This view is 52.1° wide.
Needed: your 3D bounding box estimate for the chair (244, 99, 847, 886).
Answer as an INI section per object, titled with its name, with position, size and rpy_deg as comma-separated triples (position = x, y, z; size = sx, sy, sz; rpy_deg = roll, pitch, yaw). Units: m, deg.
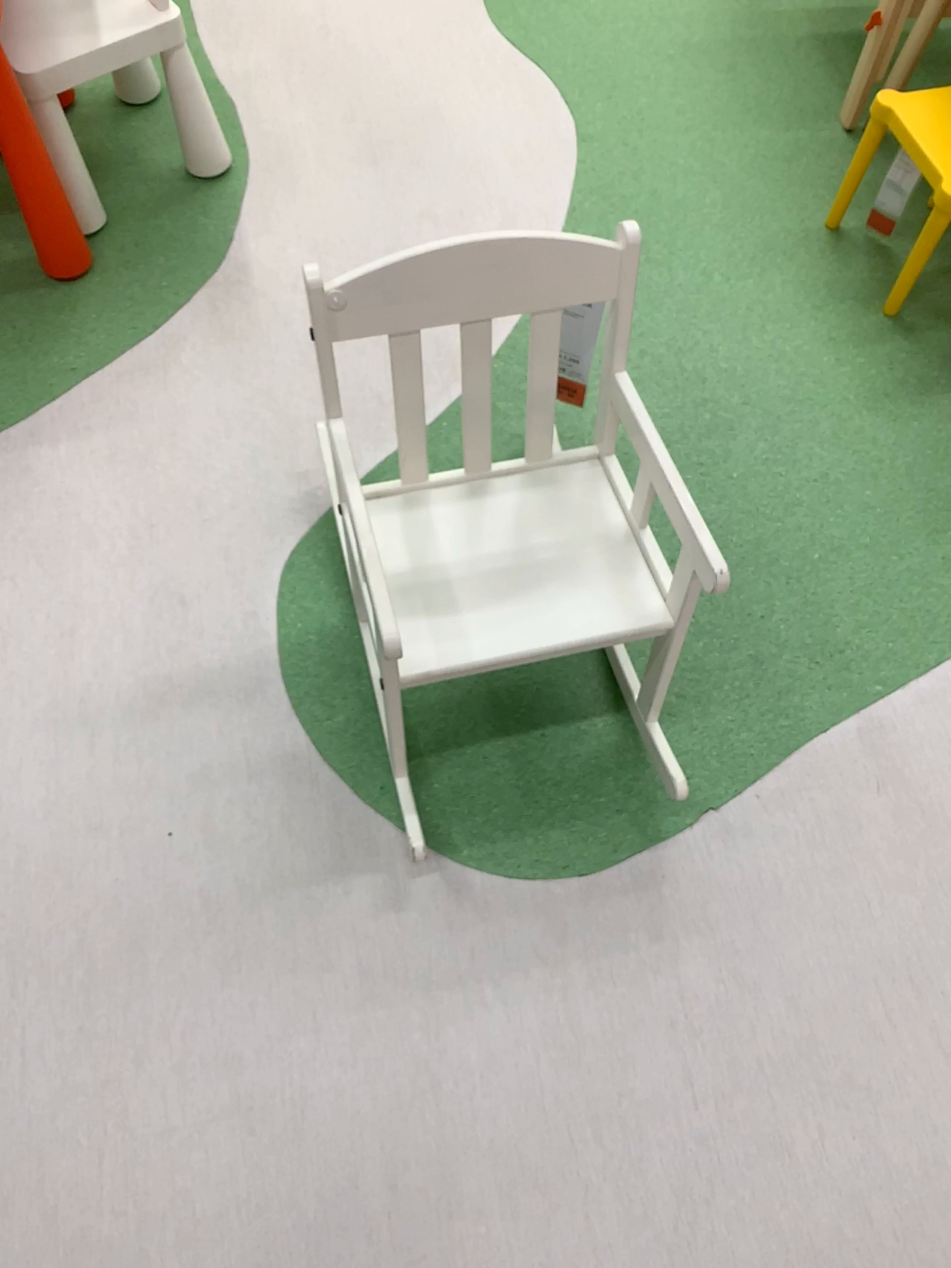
[chair]
position = 0.017, -0.160, 1.174
size = 0.410, 0.499, 0.731
rpy_deg = -11, 63, -9
